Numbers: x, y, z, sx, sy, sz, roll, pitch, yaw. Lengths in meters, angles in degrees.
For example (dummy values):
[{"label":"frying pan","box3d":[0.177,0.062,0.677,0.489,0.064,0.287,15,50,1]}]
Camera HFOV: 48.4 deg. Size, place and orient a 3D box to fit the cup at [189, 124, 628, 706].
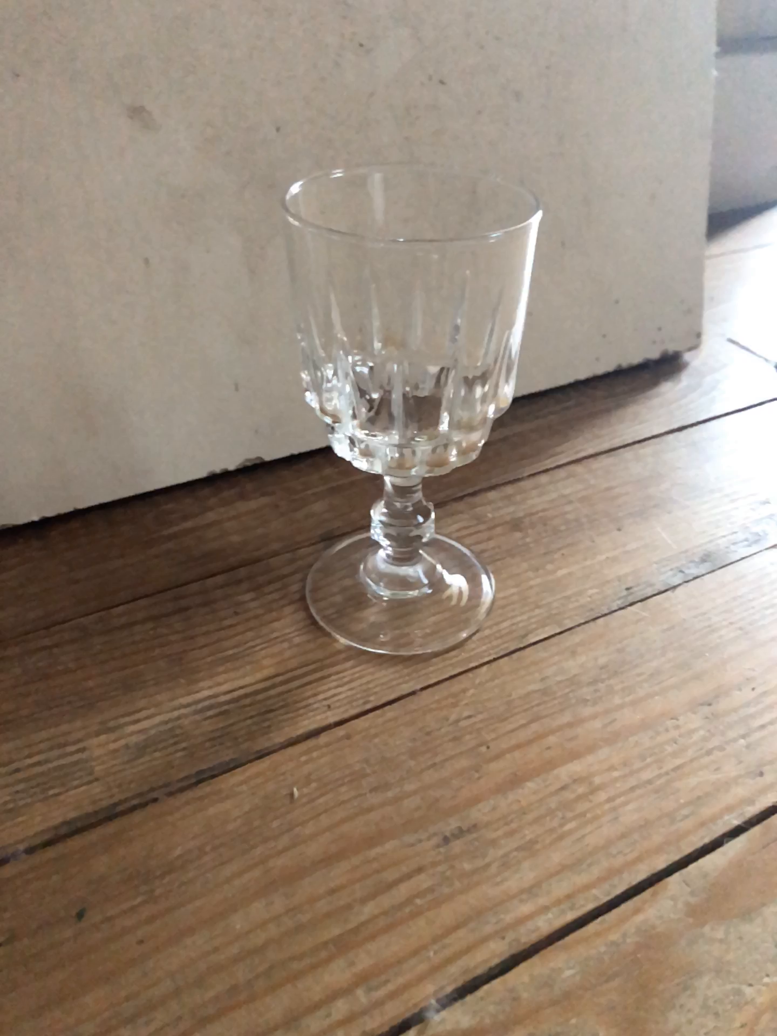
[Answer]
[{"label":"cup","box3d":[0.001,-0.029,0.226,0.070,0.119,0.070,2,35,-1]}]
